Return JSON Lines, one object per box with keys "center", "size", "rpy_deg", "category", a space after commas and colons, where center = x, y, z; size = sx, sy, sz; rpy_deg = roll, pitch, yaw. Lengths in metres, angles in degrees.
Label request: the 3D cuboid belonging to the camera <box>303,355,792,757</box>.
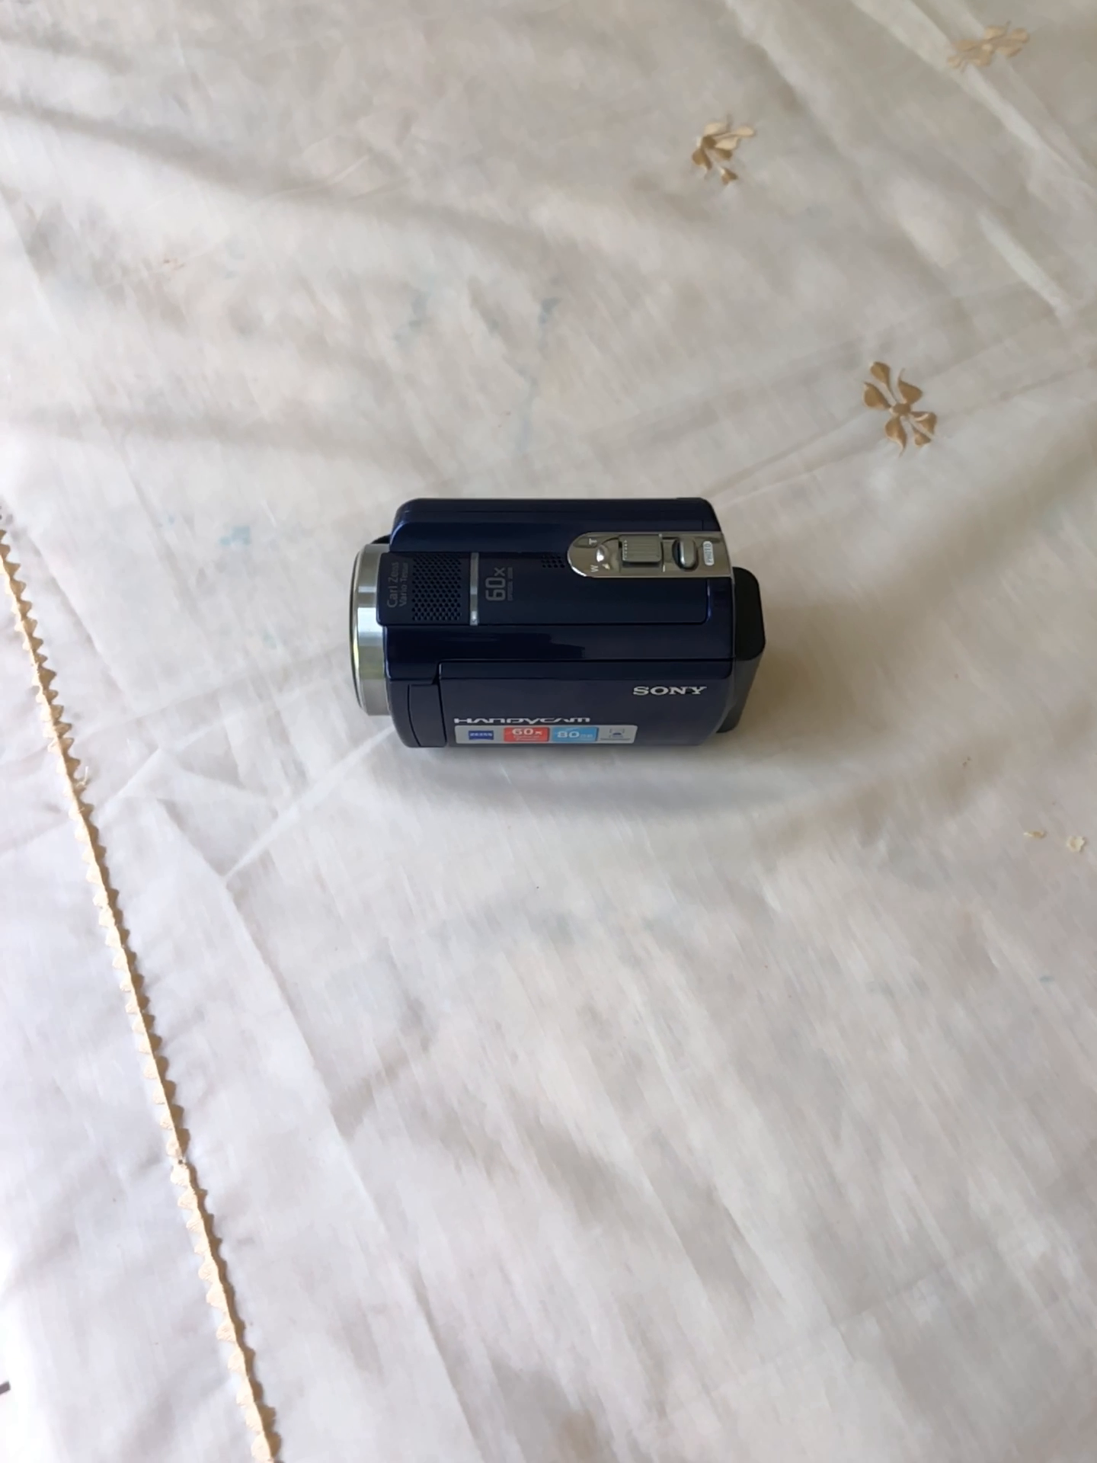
{"center": [-0.001, -0.049, 0.348], "size": [0.119, 0.070, 0.090], "rpy_deg": [0, 62, 0], "category": "camera"}
